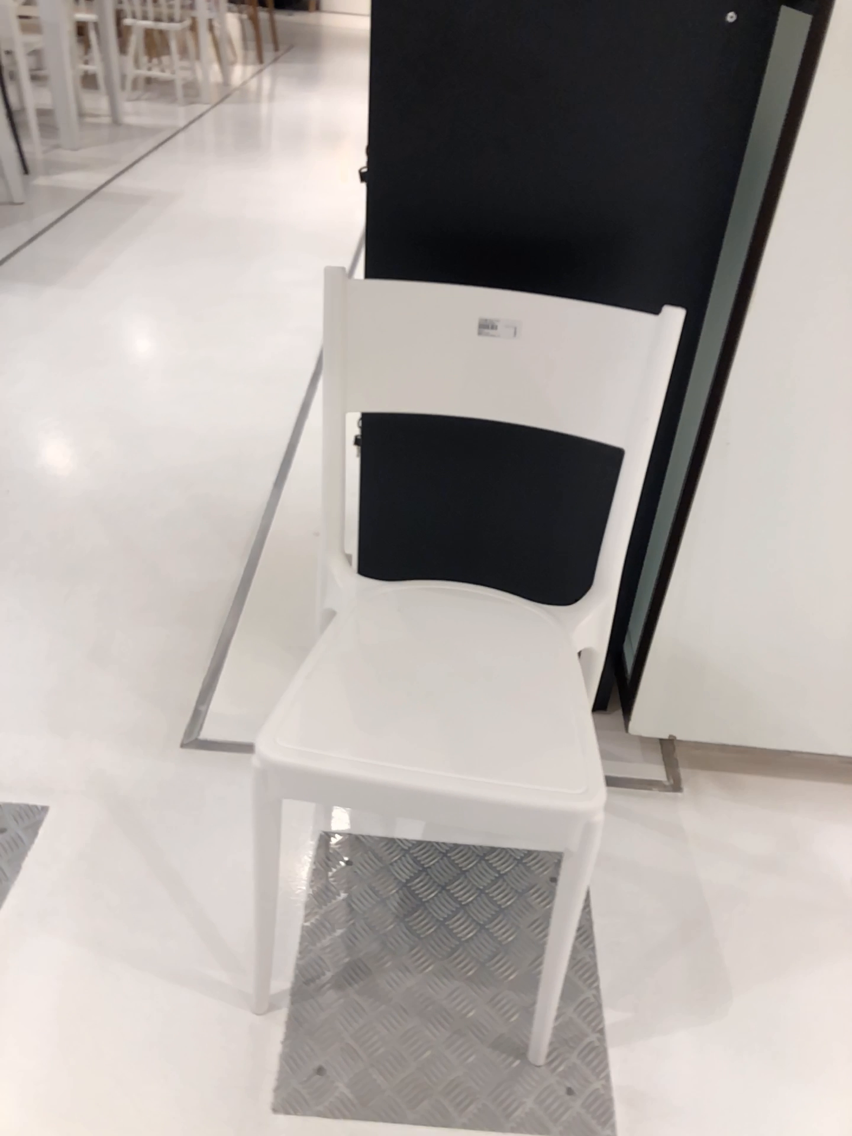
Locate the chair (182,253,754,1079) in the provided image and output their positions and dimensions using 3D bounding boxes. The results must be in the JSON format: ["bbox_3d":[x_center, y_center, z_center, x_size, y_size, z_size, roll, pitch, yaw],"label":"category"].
[{"bbox_3d":[0.028,0.116,1.083,0.410,0.764,0.484,8,35,4],"label":"chair"}]
